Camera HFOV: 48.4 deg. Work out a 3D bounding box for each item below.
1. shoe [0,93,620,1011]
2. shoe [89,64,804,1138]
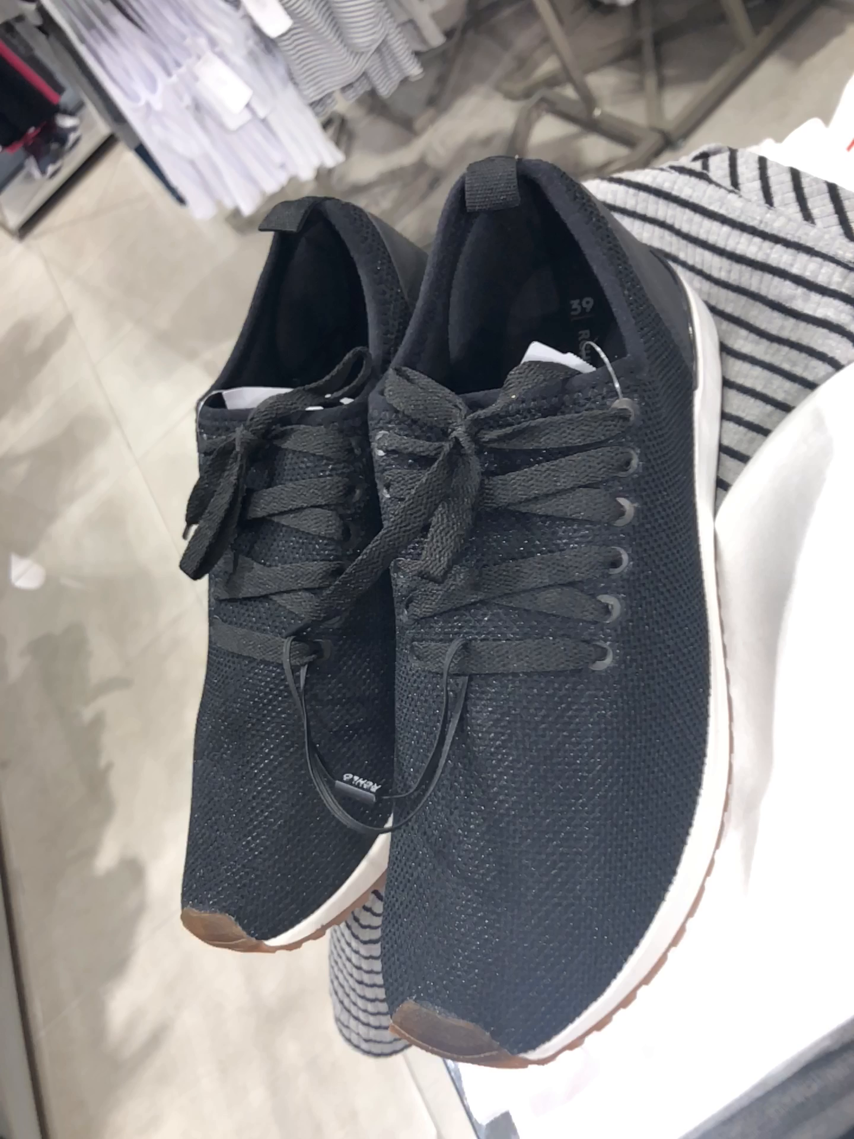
[{"bbox_3d":[-0.033,-0.006,0.328,0.100,0.119,0.260,4,68,38],"label":"shoe"},{"bbox_3d":[0.033,0.004,0.282,0.100,0.119,0.271,-3,57,35],"label":"shoe"}]
